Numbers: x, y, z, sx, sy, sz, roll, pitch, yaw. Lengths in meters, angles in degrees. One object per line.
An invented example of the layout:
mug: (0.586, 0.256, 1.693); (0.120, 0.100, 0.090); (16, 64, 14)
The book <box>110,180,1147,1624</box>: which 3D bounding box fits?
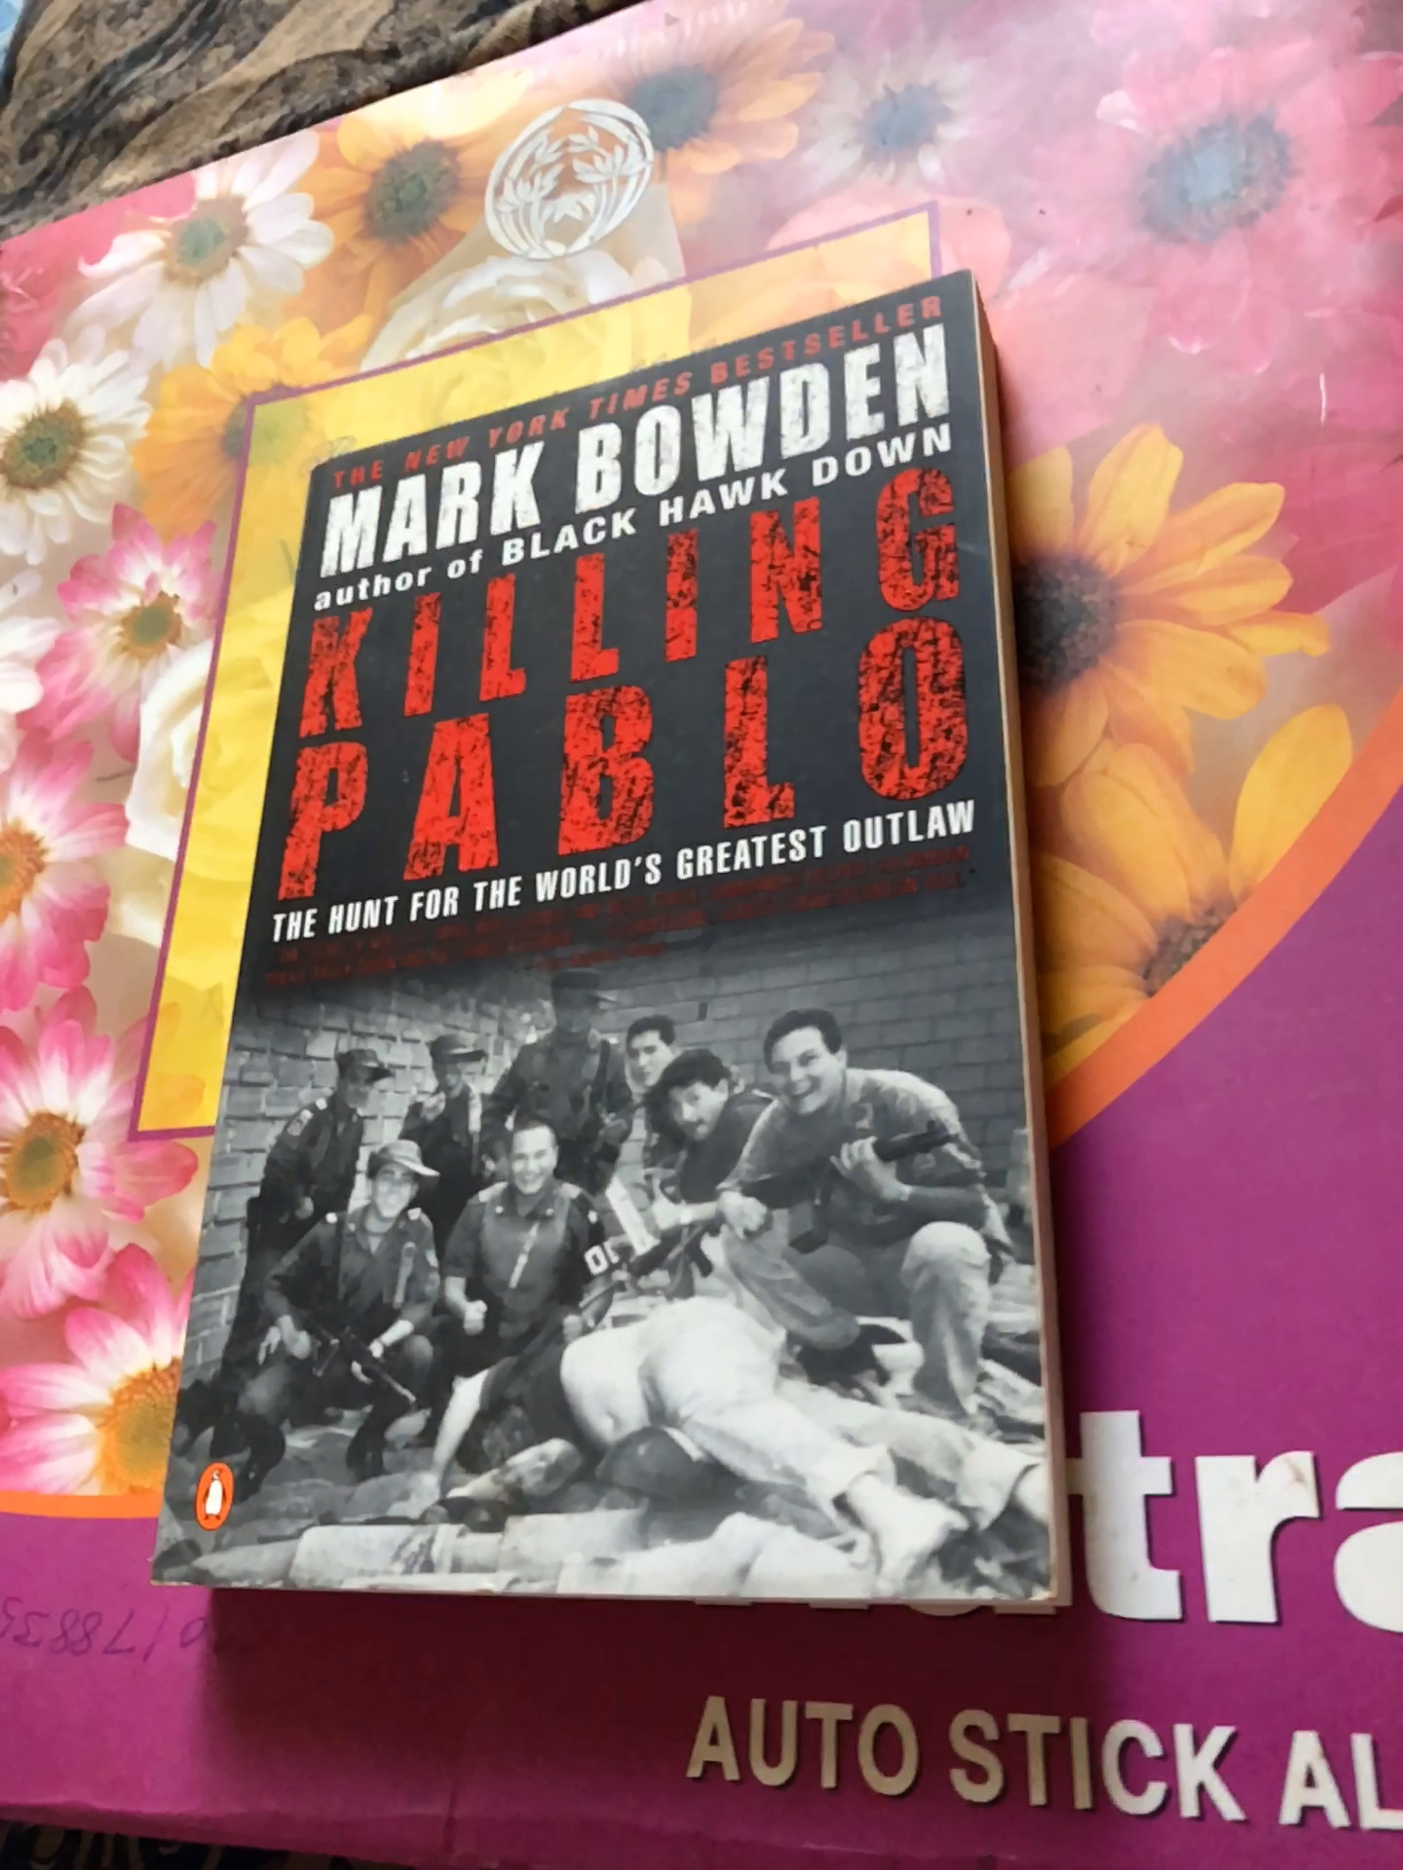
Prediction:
book: (-0.013, -0.010, 0.270); (0.151, 0.030, 0.230); (-10, 62, 25)
